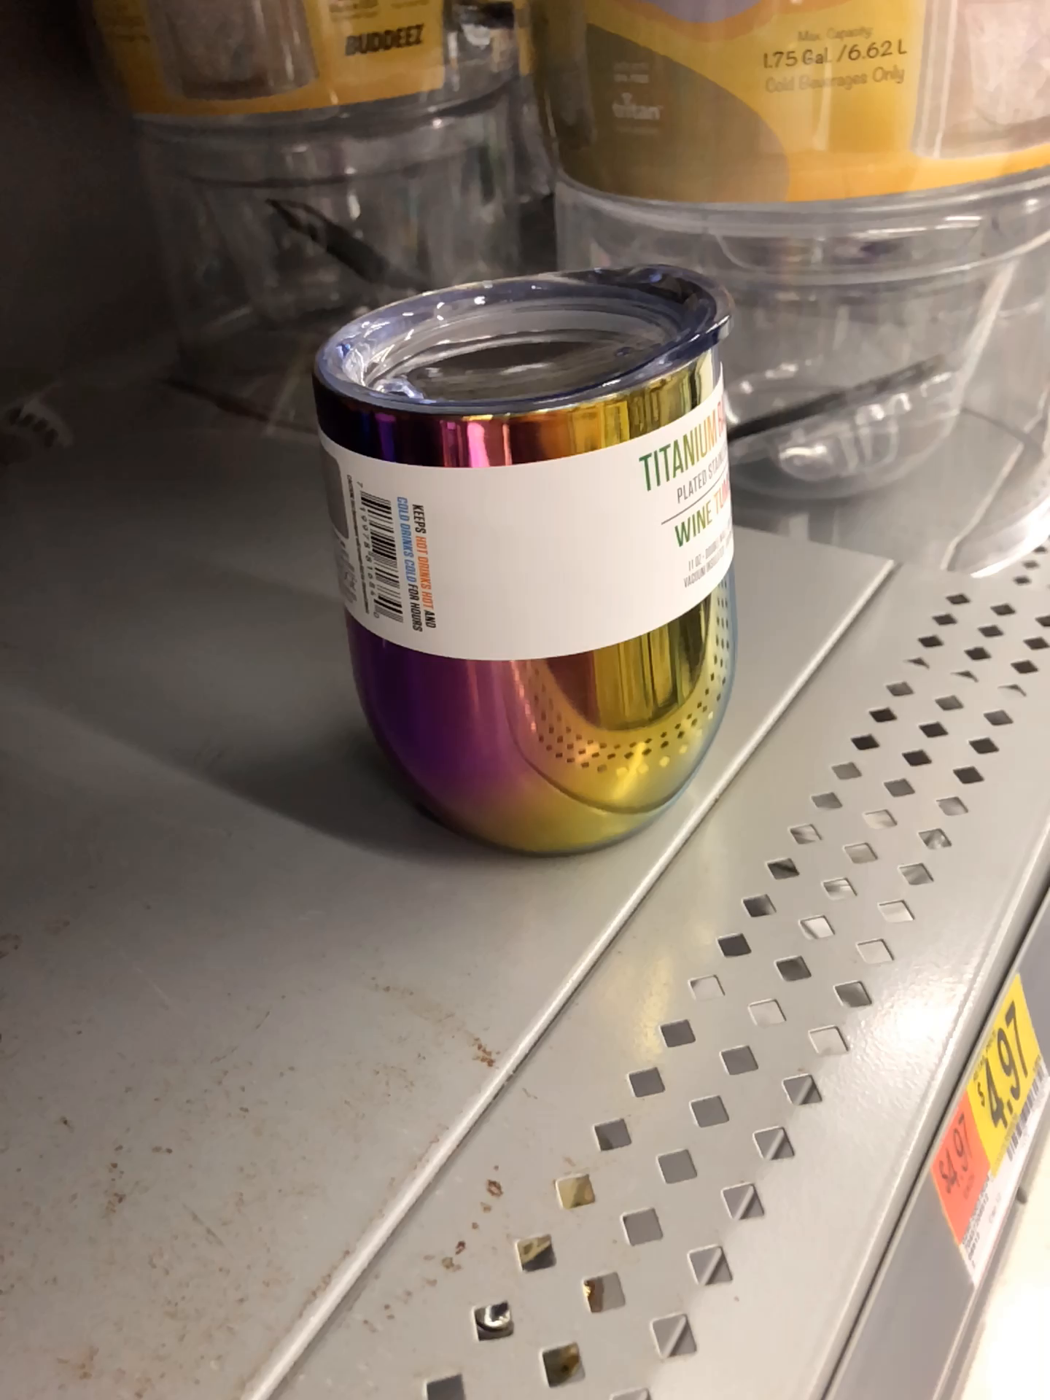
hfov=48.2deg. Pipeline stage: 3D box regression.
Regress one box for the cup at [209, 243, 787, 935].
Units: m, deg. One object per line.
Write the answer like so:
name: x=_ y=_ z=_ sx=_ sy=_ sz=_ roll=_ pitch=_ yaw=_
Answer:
cup: x=0.001 y=-0.028 z=0.255 sx=0.076 sy=0.108 sz=0.086 roll=17 pitch=41 yaw=26
